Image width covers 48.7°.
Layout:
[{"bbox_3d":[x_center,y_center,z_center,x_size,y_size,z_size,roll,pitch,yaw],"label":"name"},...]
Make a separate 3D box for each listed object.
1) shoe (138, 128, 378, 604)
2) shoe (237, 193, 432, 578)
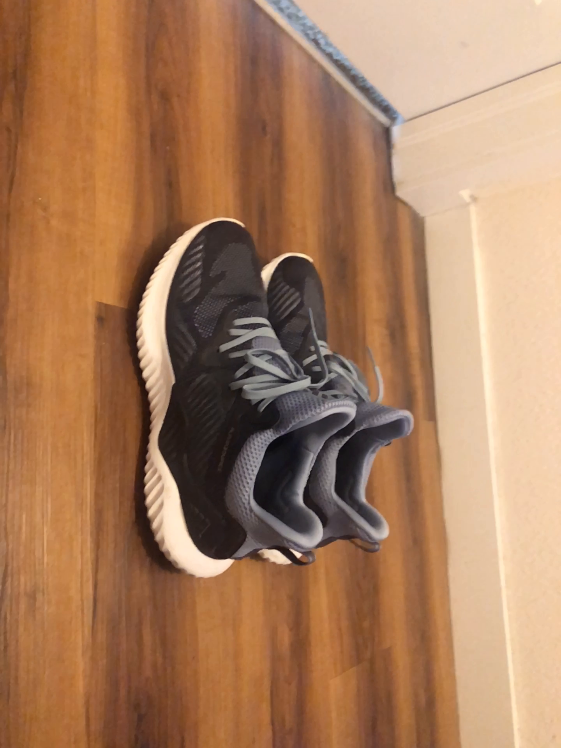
[{"bbox_3d":[-0.019,0.000,0.516,0.134,0.134,0.333,13,73,-53],"label":"shoe"},{"bbox_3d":[0.055,0.019,0.612,0.132,0.130,0.334,19,68,-51],"label":"shoe"}]
